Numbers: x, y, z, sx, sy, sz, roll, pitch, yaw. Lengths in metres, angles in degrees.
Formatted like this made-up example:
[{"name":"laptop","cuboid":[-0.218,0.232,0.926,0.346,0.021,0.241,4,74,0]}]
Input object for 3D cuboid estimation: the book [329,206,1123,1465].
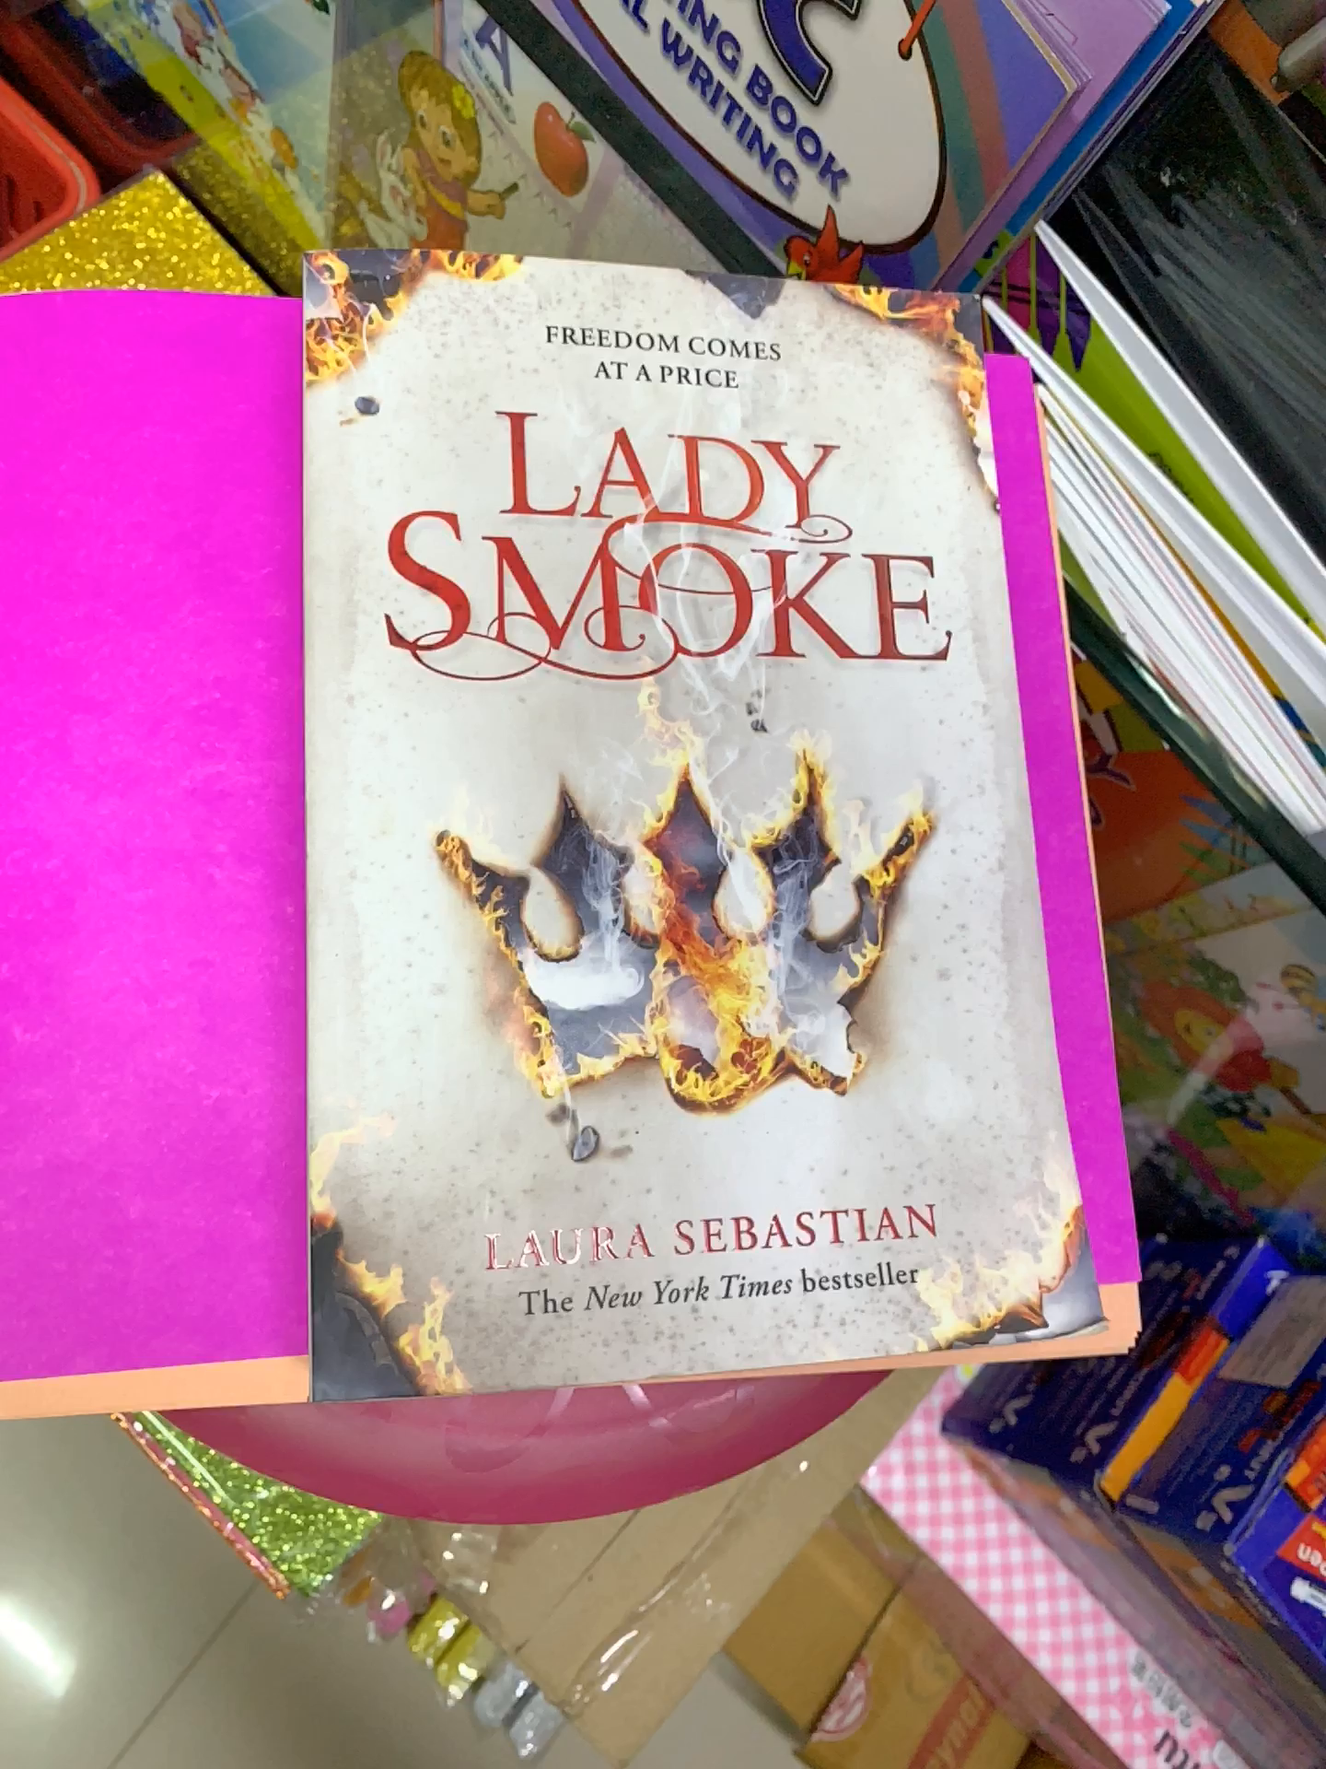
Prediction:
[{"name":"book","cuboid":[0.006,-0.011,0.257,0.130,0.050,0.200,0,83,-15]}]
